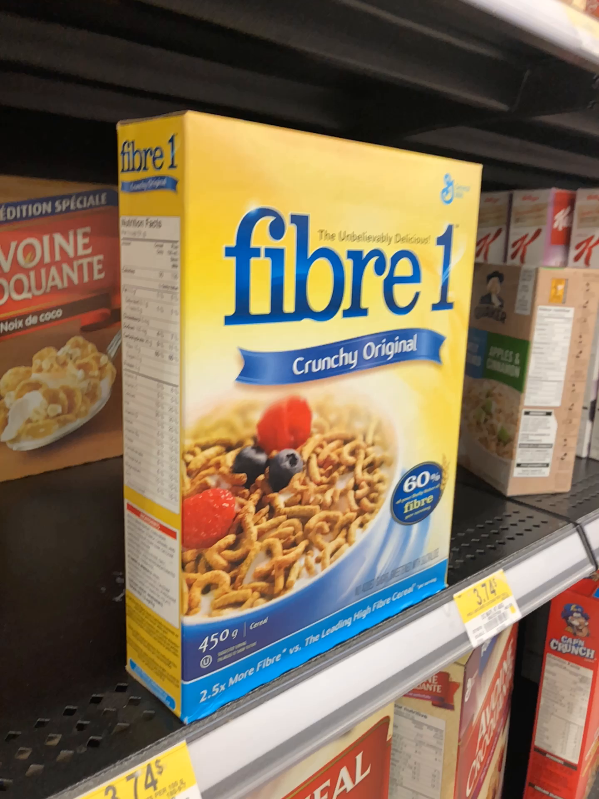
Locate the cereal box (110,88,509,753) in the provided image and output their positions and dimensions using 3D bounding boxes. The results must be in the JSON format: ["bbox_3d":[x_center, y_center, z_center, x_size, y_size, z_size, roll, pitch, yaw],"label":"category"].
[{"bbox_3d":[0.013,0.003,0.339,0.200,0.259,0.060,-9,17,-42],"label":"cereal box"}]
